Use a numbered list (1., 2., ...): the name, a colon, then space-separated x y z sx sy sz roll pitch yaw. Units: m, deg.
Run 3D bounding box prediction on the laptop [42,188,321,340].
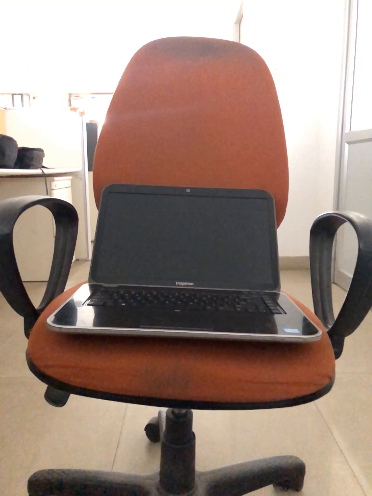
1. laptop: -0.006 -0.003 0.703 0.352 0.173 0.351 1 11 2
